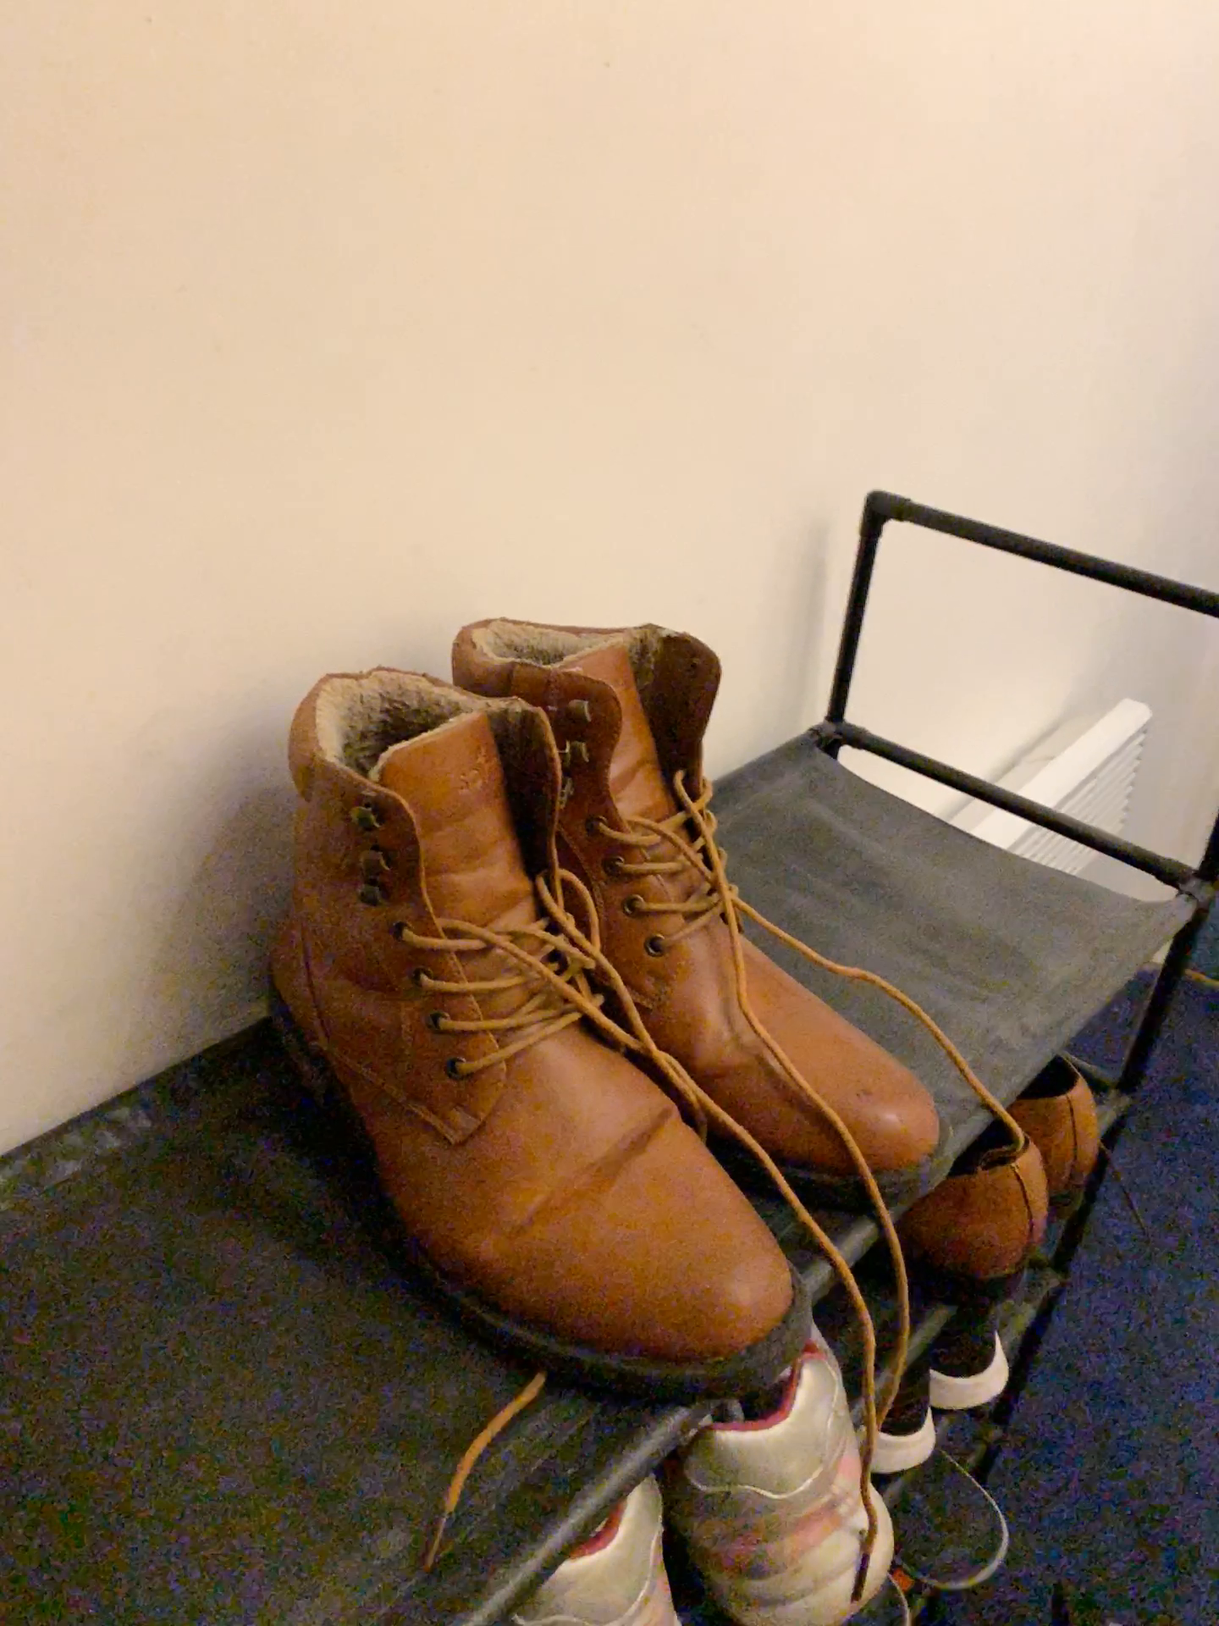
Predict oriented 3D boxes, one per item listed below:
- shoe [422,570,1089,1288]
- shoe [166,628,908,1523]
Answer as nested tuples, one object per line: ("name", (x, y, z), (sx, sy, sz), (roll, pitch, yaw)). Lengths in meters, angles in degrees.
("shoe", (0.045, 0.034, 0.537), (0.241, 0.198, 0.111), (25, 36, 33))
("shoe", (-0.046, 0.076, 0.482), (0.111, 0.198, 0.271), (-22, 38, -37))
